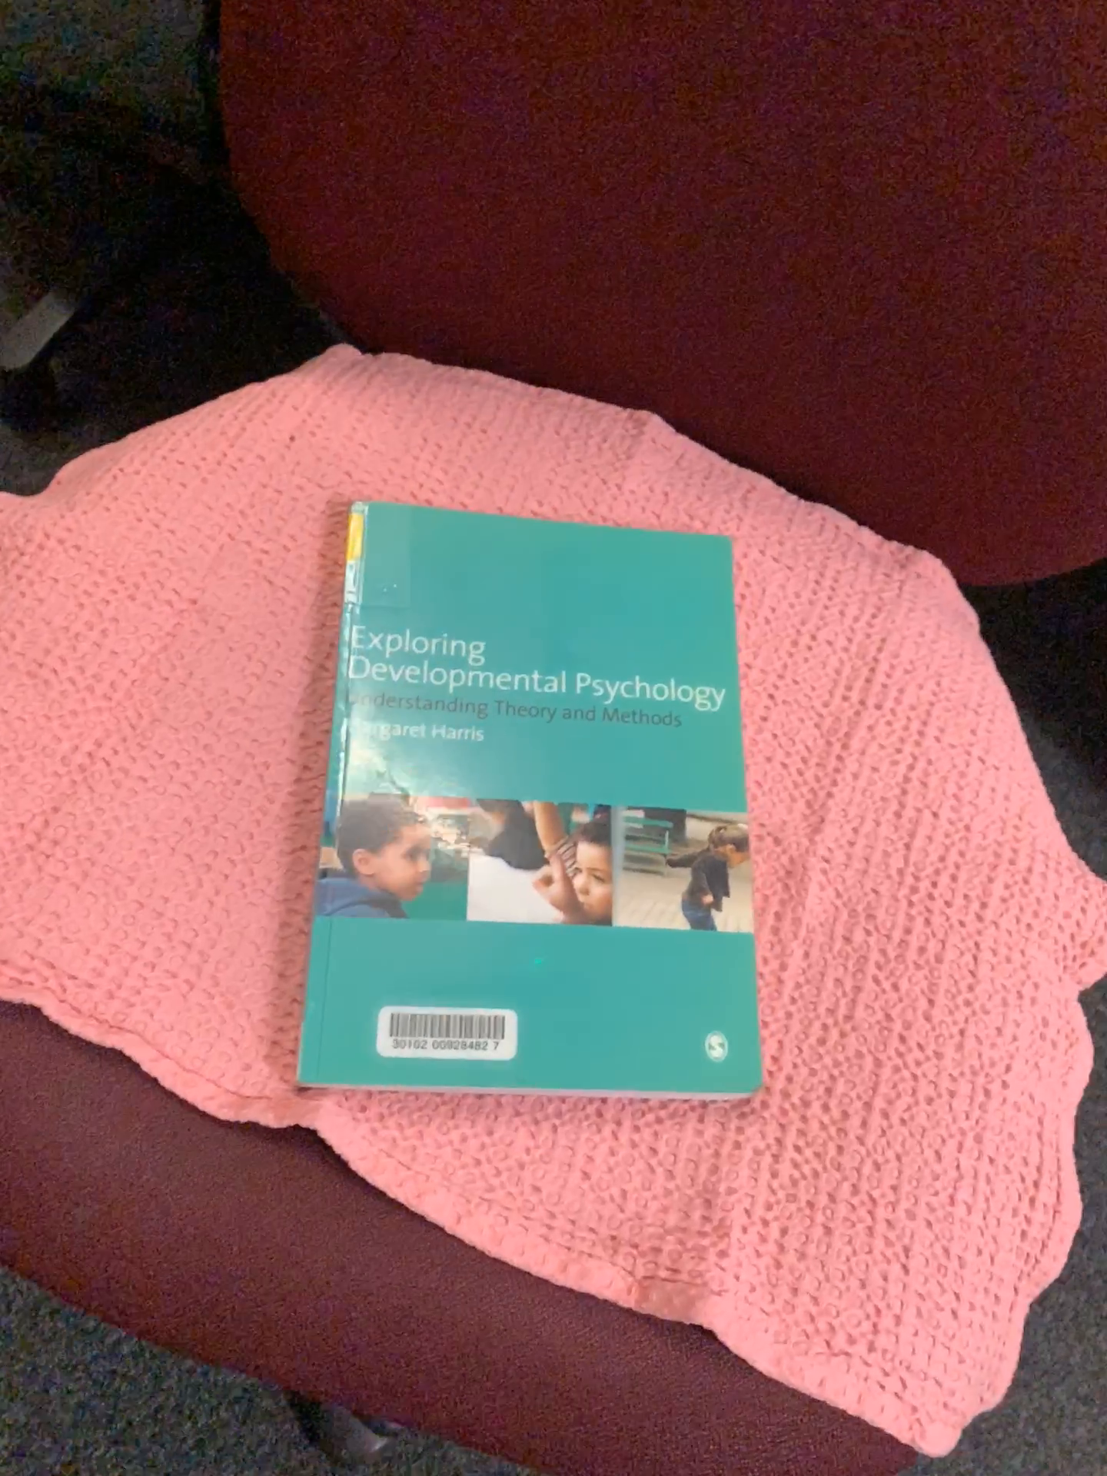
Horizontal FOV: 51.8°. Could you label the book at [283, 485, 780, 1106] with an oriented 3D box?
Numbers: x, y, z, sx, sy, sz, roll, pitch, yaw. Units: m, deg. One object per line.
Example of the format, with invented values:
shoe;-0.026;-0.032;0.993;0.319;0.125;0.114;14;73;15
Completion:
book;-0.008;0.018;0.459;0.175;0.030;0.246;3;67;-9
